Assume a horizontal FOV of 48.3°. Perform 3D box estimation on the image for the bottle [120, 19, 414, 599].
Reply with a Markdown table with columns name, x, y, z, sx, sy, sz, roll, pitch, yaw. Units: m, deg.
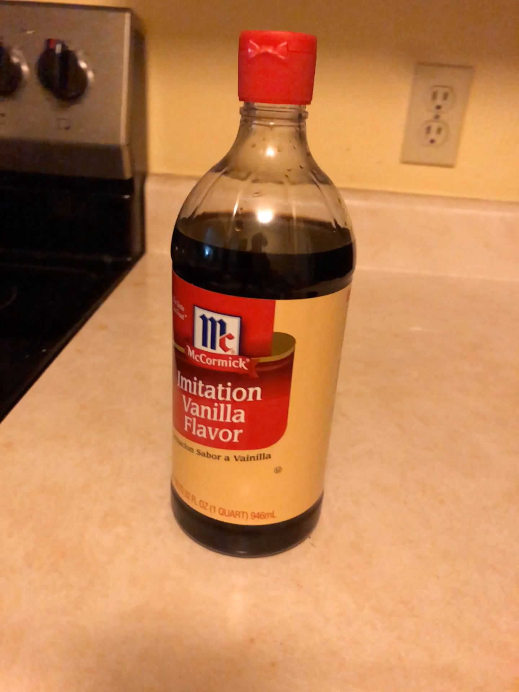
| name | x | y | z | sx | sy | sz | roll | pitch | yaw |
| --- | --- | --- | --- | --- | --- | --- | --- | --- | --- |
| bottle | 0.000 | -0.013 | 0.275 | 0.090 | 0.239 | 0.080 | 14 | 26 | 21 |
